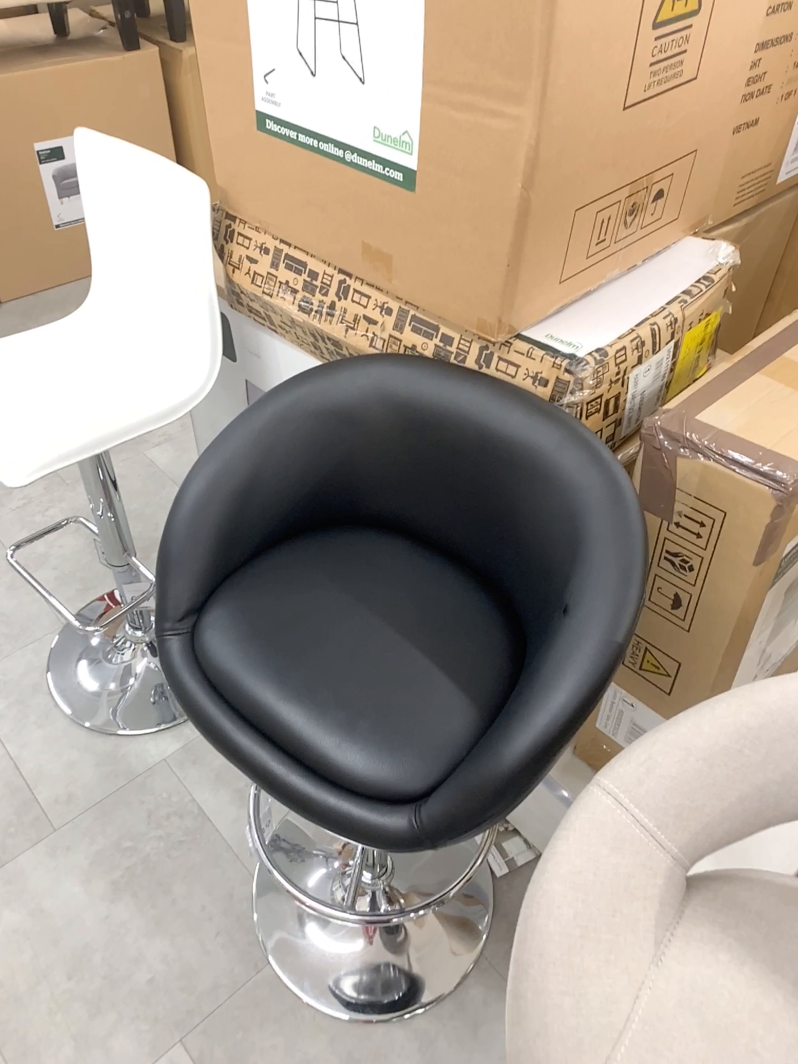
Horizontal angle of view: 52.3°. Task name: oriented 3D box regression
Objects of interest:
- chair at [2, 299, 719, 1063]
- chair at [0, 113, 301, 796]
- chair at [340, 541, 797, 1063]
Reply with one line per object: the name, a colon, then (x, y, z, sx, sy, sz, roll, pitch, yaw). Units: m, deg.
chair: (-0.045, 0.262, 1.033, 0.476, 0.869, 0.442, 34, 52, 29)
chair: (-0.505, -0.087, 1.357, 0.446, 0.948, 0.442, 32, 51, 27)
chair: (0.268, 0.554, 0.728, 0.446, 0.918, 0.432, 32, 51, 27)
